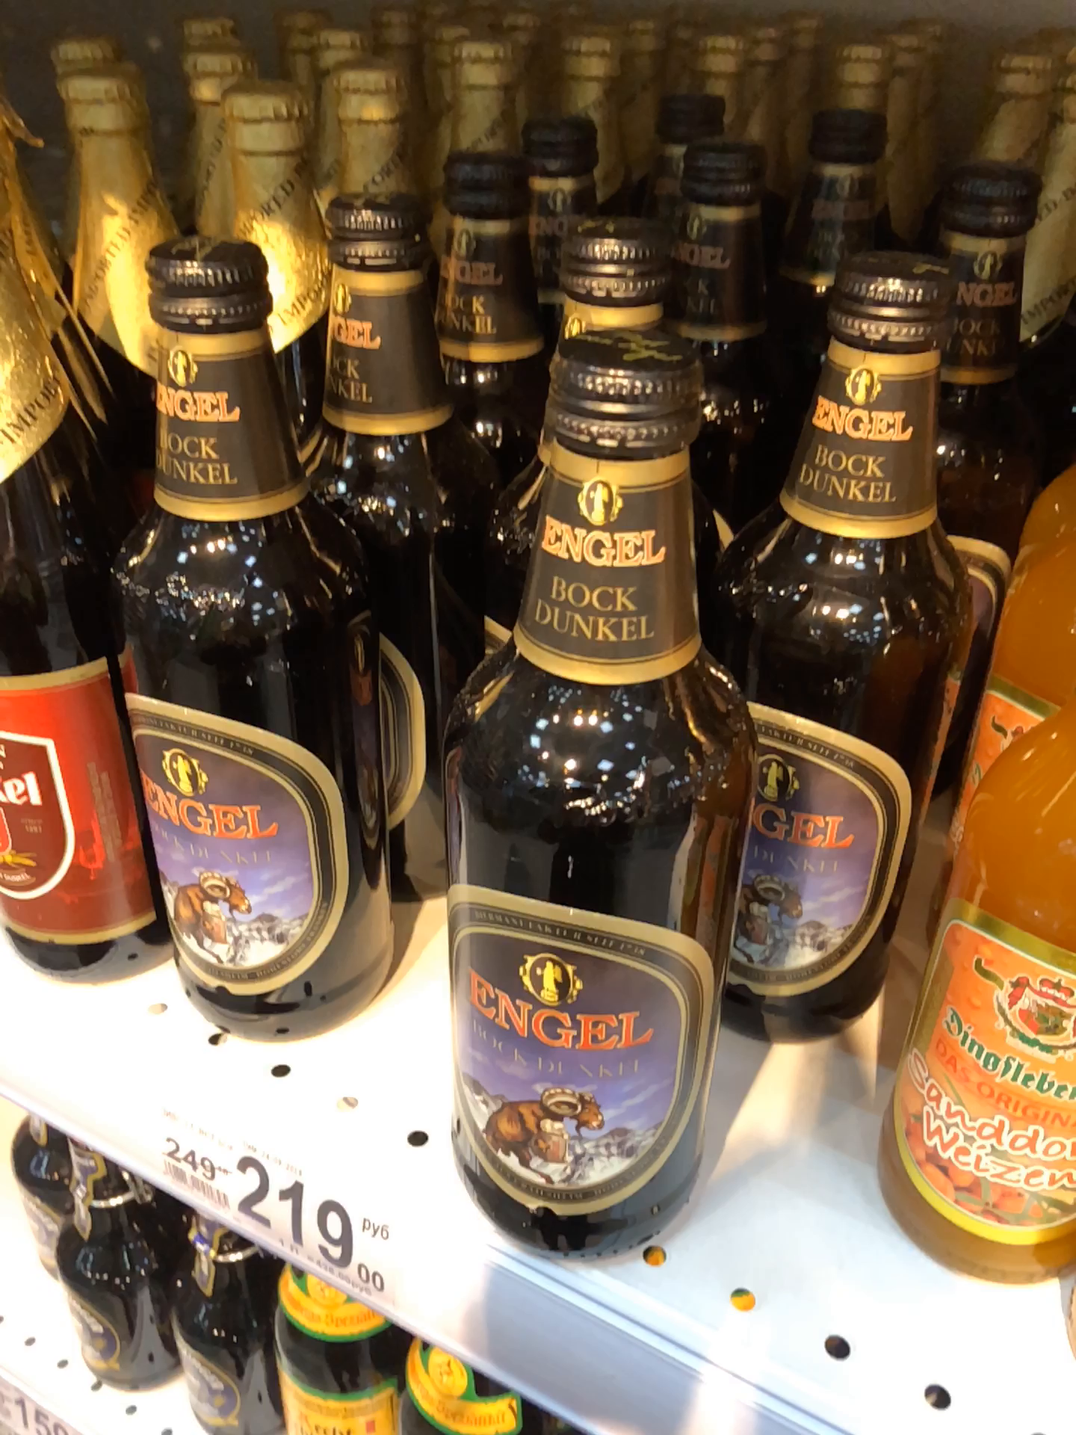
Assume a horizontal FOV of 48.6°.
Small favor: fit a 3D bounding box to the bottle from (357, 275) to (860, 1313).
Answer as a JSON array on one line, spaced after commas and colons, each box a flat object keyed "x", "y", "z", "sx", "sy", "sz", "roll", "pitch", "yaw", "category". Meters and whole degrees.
[{"x": 0.012, "y": 0.030, "z": 0.269, "sx": 0.070, "sy": 0.229, "sz": 0.061, "roll": 14, "pitch": 36, "yaw": 19, "category": "bottle"}]

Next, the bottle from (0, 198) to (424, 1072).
[{"x": -0.081, "y": -0.012, "z": 0.335, "sx": 0.070, "sy": 0.233, "sz": 0.061, "roll": 15, "pitch": 36, "yaw": 19, "category": "bottle"}]

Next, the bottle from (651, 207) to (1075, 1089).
[{"x": 0.086, "y": -0.010, "z": 0.338, "sx": 0.069, "sy": 0.233, "sz": 0.070, "roll": 1, "pitch": 34, "yaw": -1, "category": "bottle"}]
